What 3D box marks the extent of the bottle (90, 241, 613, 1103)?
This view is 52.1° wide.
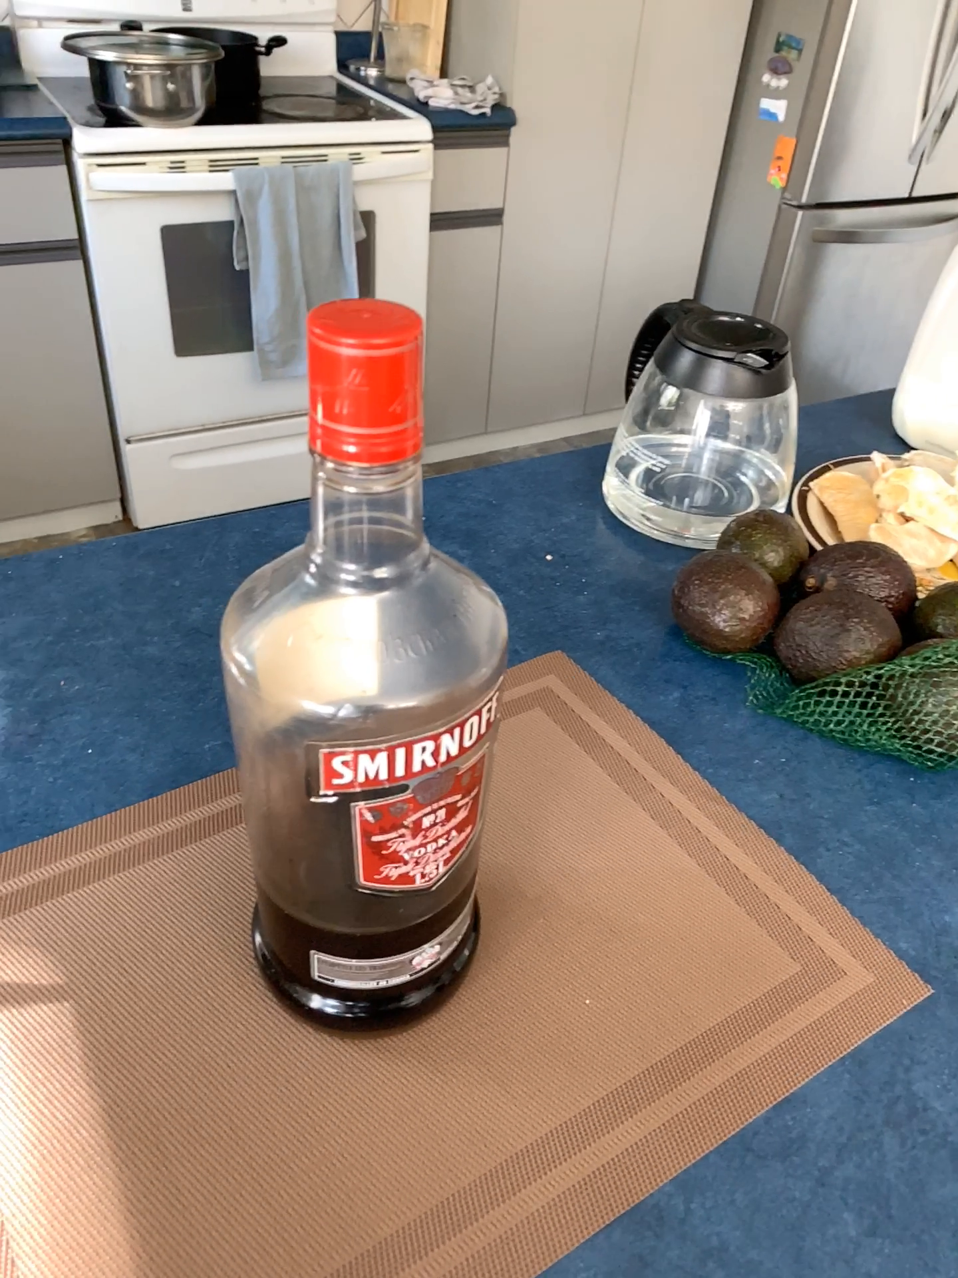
[{"bbox_3d":[-0.052,0.027,0.393,0.120,0.317,0.111,3,37,-2],"label":"bottle"}]
